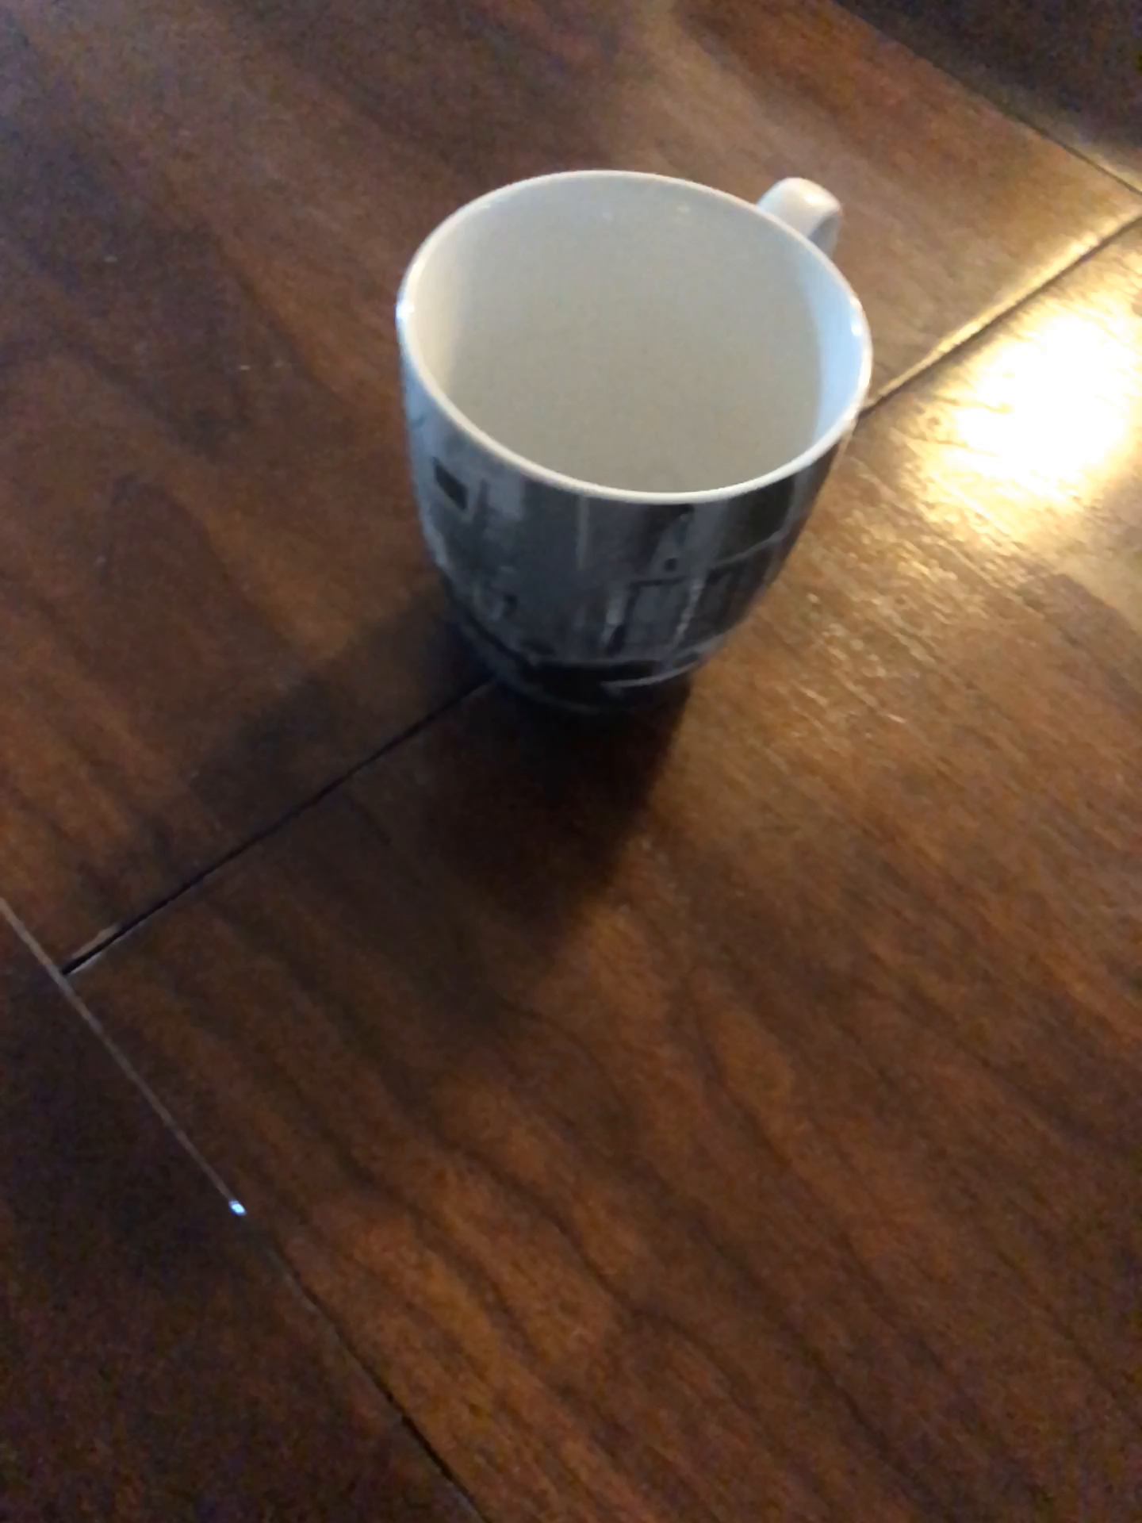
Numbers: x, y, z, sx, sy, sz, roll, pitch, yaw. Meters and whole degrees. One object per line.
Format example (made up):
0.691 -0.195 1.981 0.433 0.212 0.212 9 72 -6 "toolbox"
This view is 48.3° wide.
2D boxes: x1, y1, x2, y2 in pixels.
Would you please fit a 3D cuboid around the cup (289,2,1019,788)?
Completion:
0.021 -0.088 0.298 0.100 0.080 0.140 28 60 10 "cup"
